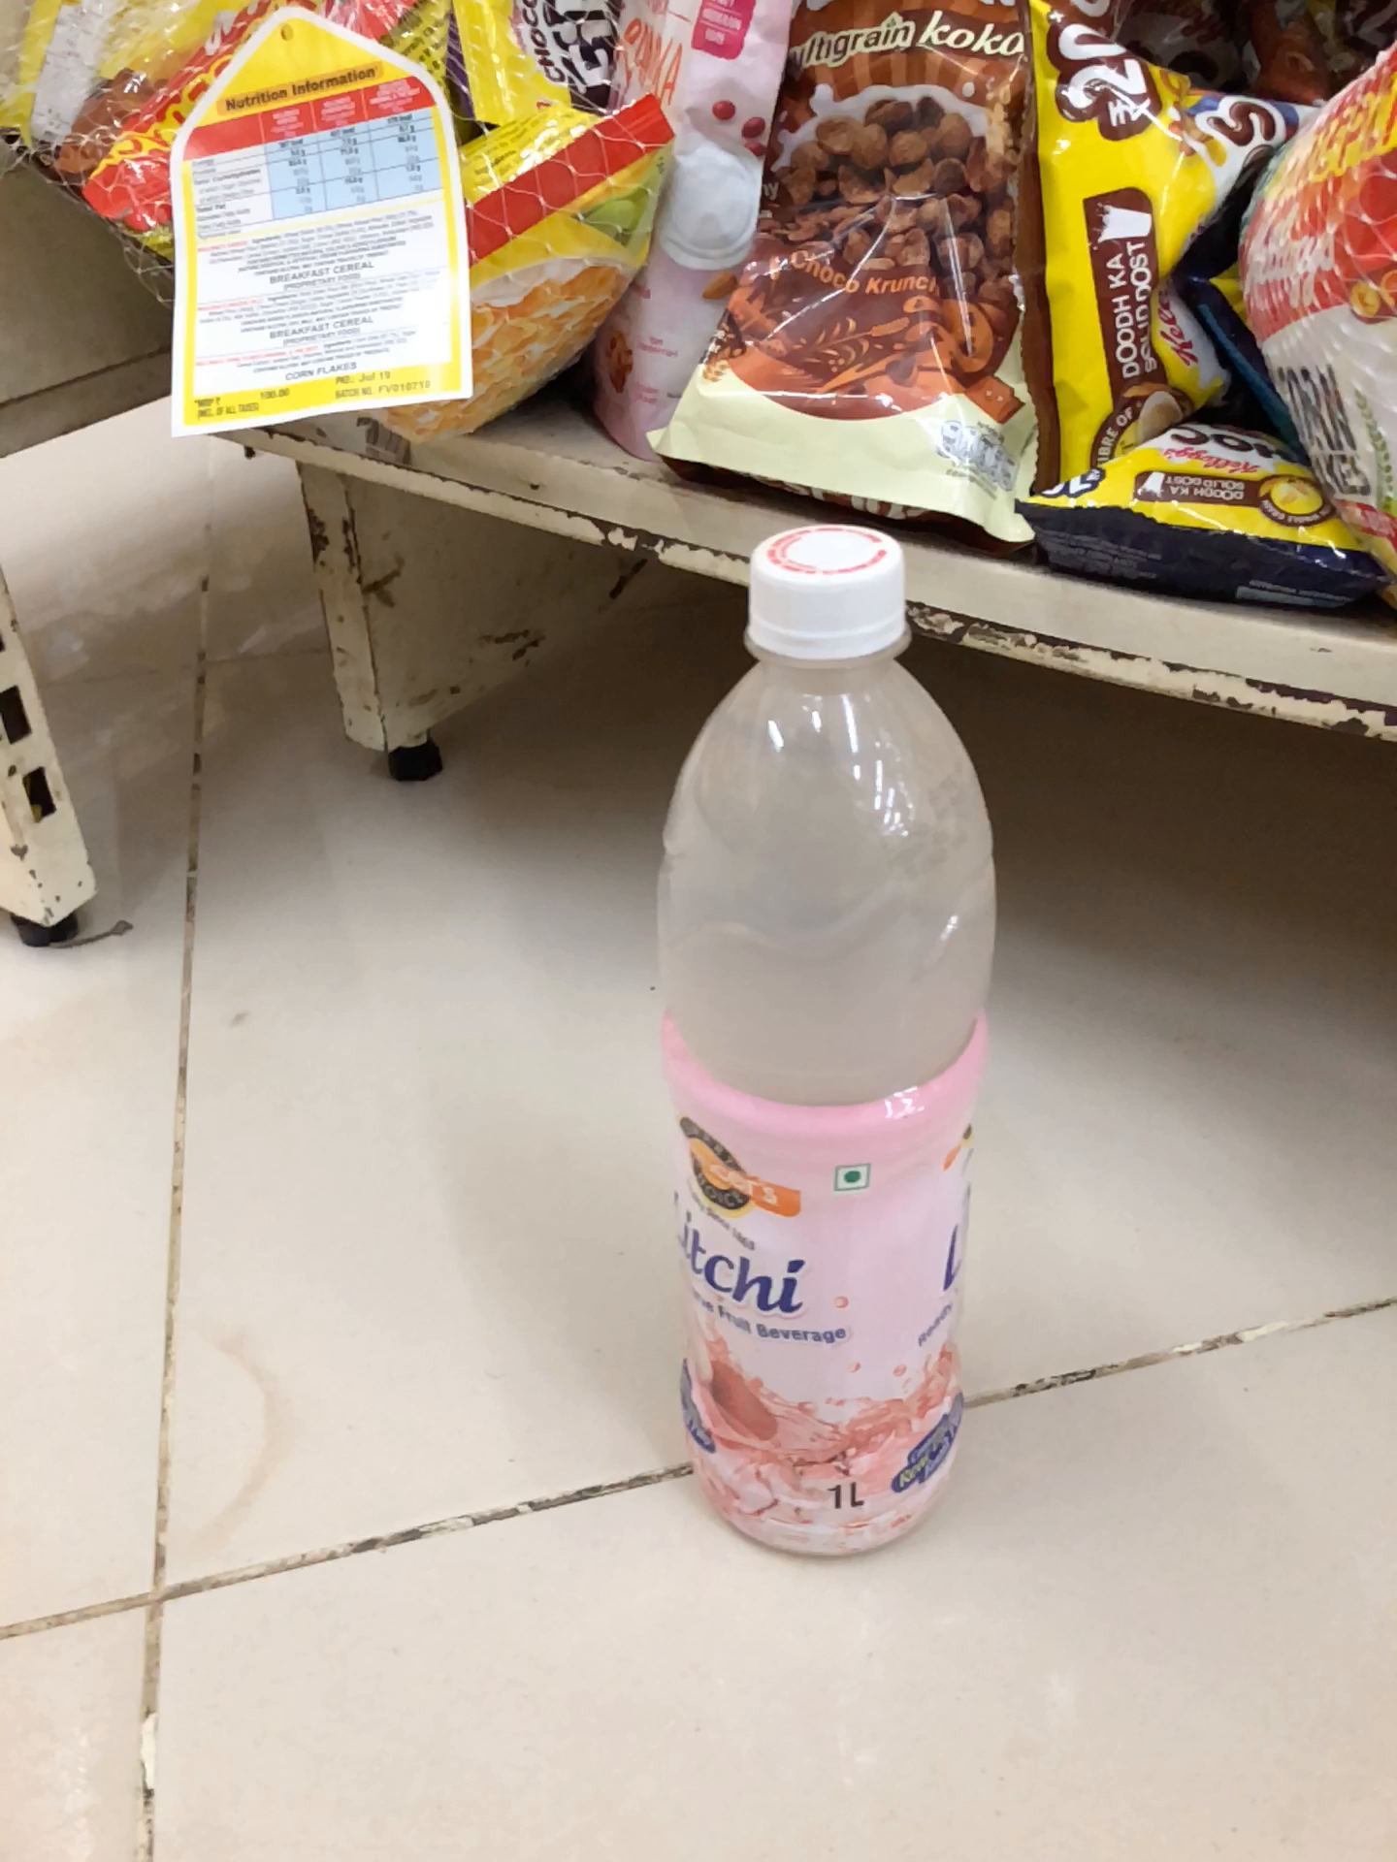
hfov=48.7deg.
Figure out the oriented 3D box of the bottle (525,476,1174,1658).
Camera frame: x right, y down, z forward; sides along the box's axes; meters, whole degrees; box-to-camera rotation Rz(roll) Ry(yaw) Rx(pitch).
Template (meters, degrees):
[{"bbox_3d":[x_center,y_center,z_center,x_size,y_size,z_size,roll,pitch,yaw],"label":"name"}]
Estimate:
[{"bbox_3d":[0.031,0.037,0.337,0.080,0.238,0.080,-2,34,1],"label":"bottle"}]
